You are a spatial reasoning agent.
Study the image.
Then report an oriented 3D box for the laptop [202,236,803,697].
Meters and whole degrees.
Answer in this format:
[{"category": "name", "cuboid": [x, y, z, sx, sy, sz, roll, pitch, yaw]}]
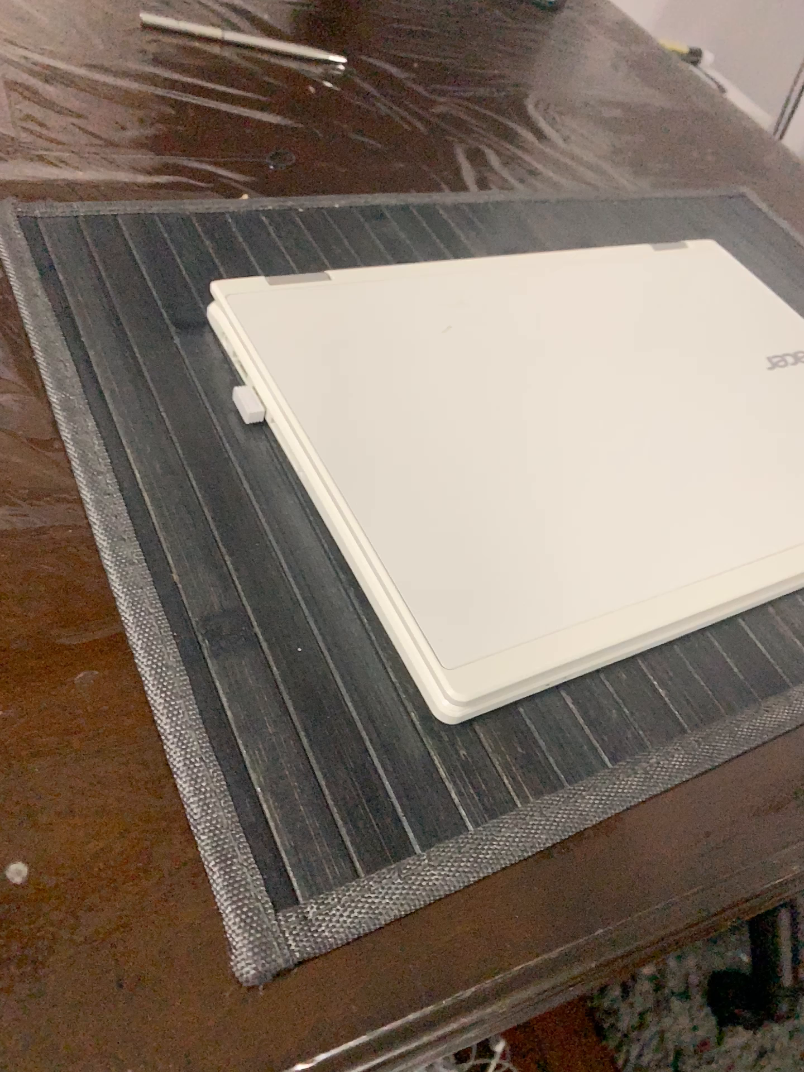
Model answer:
[{"category": "laptop", "cuboid": [0.087, -0.058, 0.340, 0.279, 0.002, 0.195, -14, 56, -26]}]
